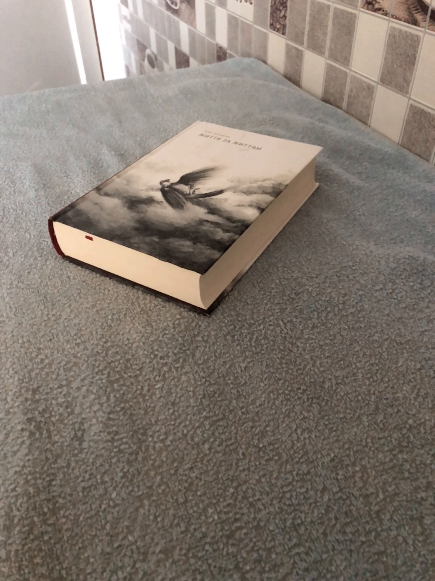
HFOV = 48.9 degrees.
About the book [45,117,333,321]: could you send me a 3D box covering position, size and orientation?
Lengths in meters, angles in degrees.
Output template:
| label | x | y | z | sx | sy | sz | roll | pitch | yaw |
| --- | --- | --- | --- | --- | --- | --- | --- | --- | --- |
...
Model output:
| label | x | y | z | sx | sy | sz | roll | pitch | yaw |
| --- | --- | --- | --- | --- | --- | --- | --- | --- | --- |
| book | -0.013 | -0.083 | 0.430 | 0.156 | 0.040 | 0.221 | 21 | 47 | 23 |
